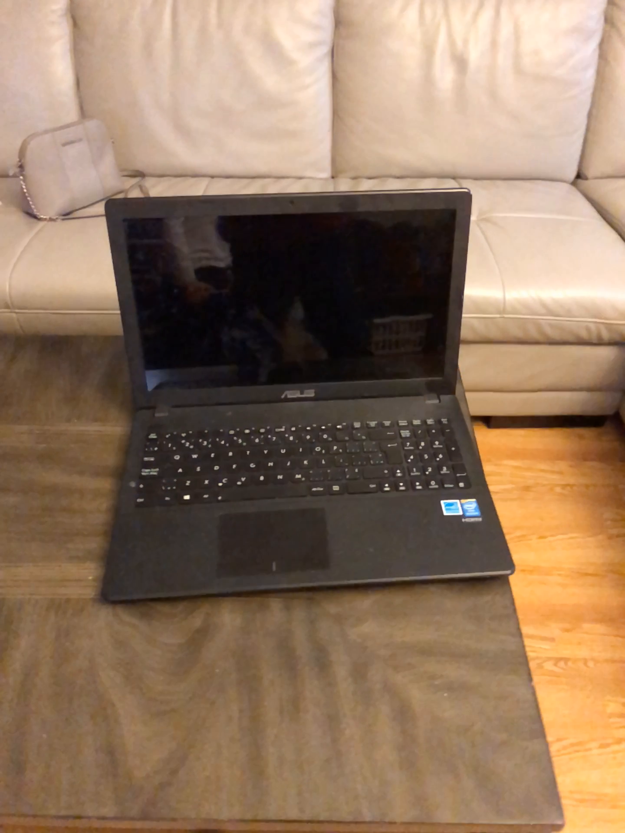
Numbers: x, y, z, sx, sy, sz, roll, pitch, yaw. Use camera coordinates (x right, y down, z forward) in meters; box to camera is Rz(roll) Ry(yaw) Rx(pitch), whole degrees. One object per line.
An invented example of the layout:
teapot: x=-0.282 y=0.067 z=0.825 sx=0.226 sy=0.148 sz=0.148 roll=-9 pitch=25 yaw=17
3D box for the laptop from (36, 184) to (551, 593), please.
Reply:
laptop: x=-0.023 y=-0.042 z=0.655 sx=0.355 sy=0.216 sz=0.317 roll=-3 pitch=44 yaw=-4
